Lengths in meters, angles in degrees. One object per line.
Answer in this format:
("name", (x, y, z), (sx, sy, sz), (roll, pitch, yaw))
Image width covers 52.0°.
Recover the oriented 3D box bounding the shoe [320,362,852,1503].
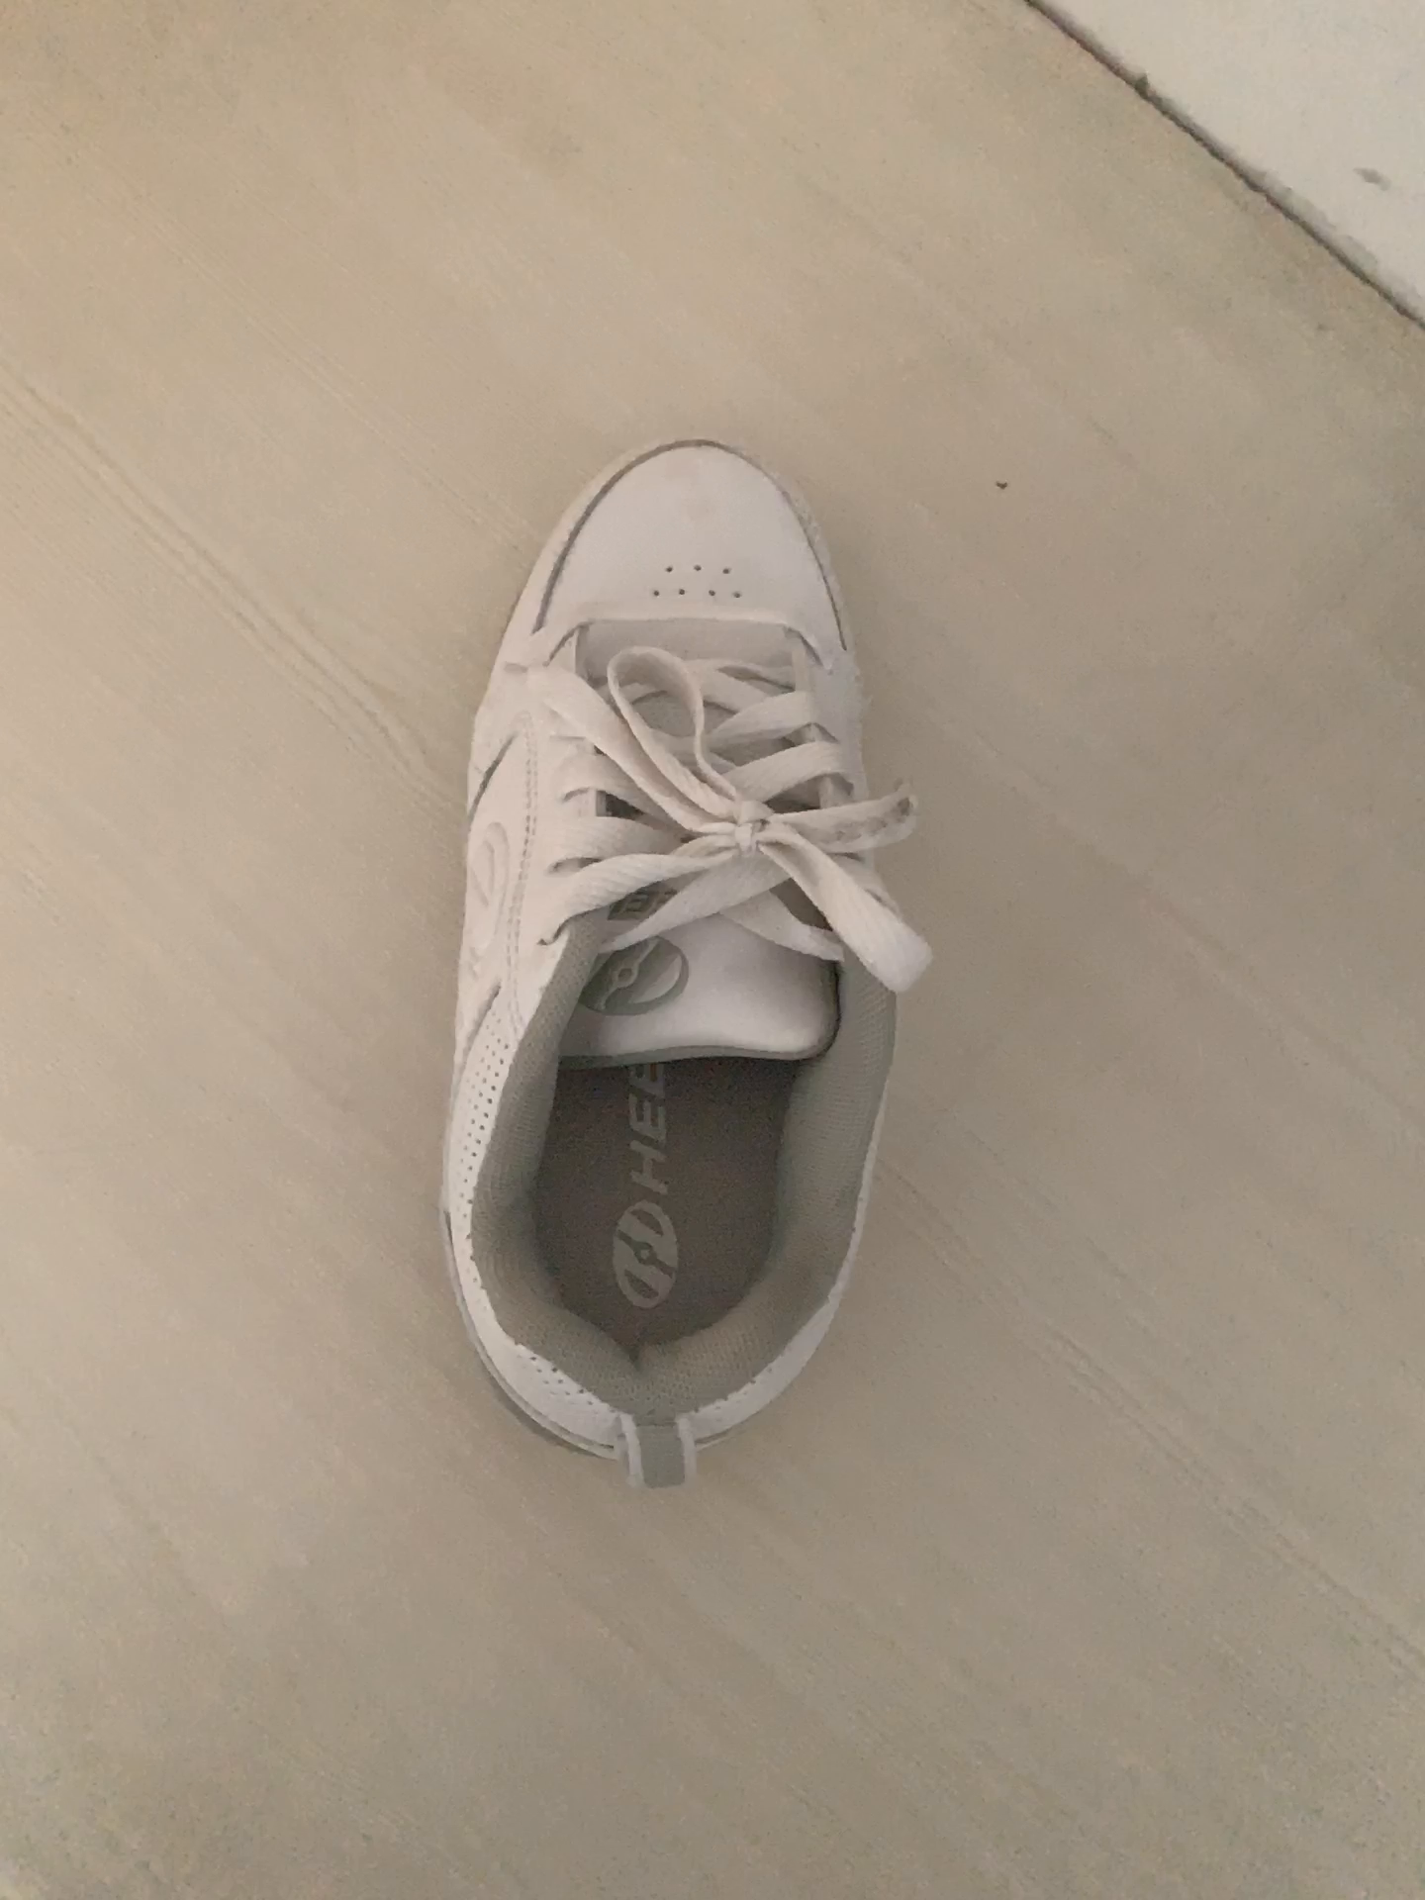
("shoe", (-0.022, -0.002, 0.331), (0.090, 0.090, 0.230), (4, 73, -4))
